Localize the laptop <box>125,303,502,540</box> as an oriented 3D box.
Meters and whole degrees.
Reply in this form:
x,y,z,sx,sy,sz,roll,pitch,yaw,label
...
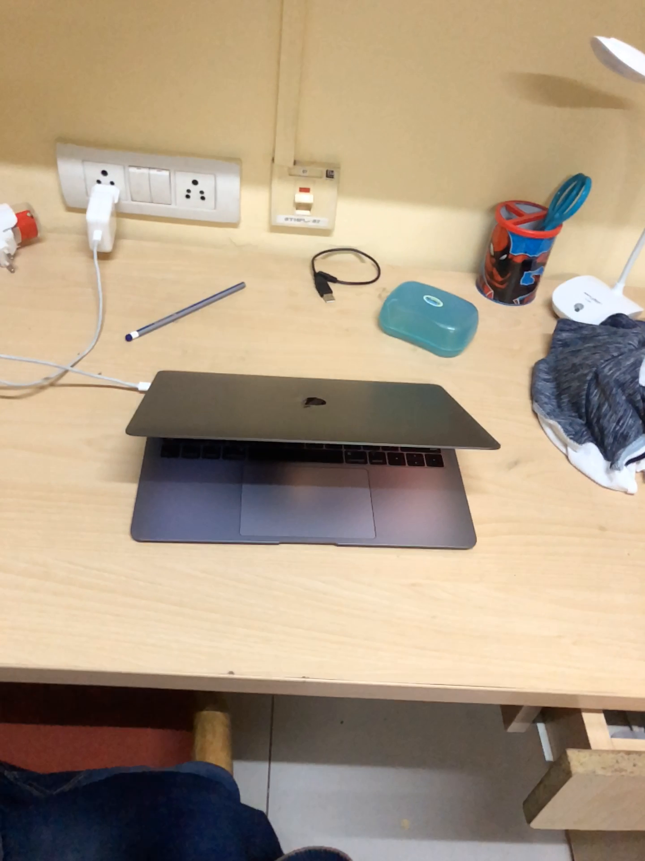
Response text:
x,y,z,sx,sy,sz,roll,pitch,yaw,label
-0.011,-0.011,0.649,0.294,0.094,0.194,2,45,-6,laptop
